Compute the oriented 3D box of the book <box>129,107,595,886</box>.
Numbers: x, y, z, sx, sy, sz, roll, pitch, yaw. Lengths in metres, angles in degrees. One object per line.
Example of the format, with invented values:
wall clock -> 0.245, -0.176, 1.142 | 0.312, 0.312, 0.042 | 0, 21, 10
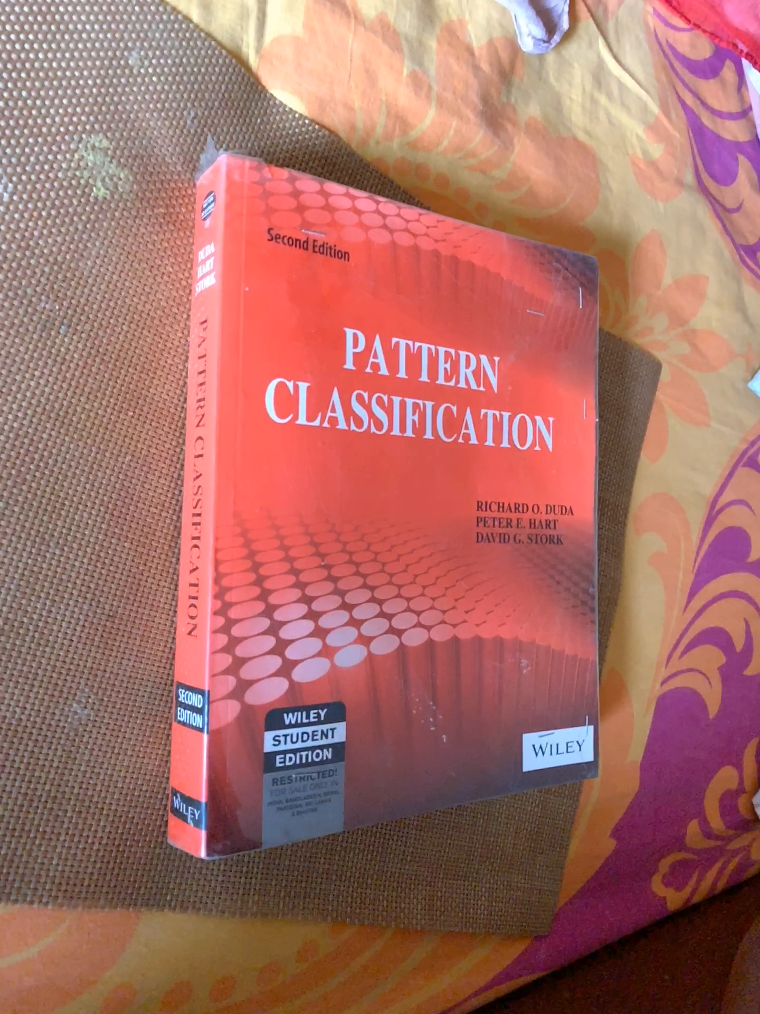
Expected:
book -> 0.006, -0.001, 0.299 | 0.181, 0.040, 0.230 | 4, 85, -35
